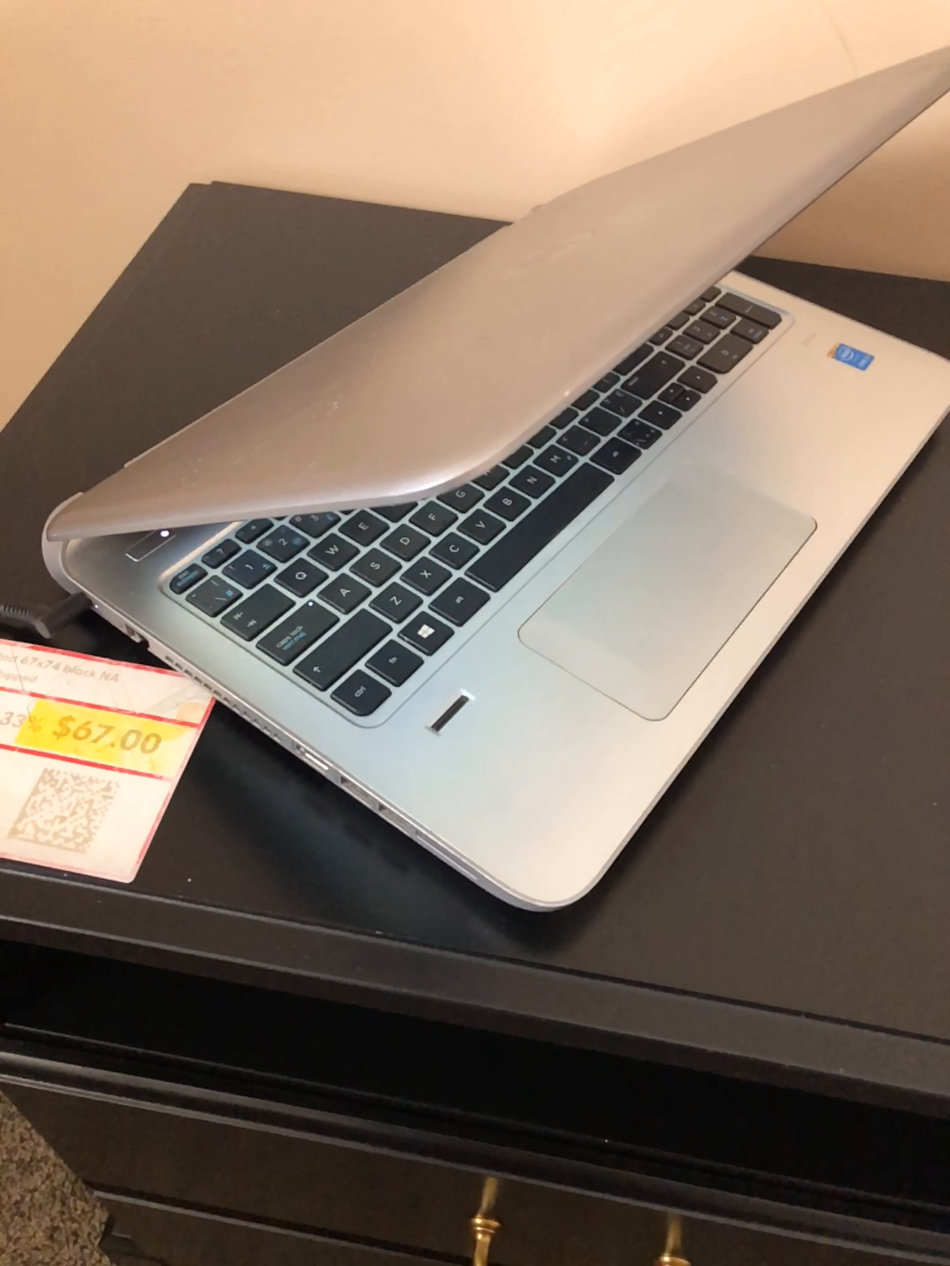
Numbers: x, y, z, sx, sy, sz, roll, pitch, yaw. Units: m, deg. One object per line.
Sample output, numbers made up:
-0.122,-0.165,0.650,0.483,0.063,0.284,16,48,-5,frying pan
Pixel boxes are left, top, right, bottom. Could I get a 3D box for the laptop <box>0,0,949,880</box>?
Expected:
0.050,-0.128,0.408,0.228,0.153,0.356,31,54,21,laptop
